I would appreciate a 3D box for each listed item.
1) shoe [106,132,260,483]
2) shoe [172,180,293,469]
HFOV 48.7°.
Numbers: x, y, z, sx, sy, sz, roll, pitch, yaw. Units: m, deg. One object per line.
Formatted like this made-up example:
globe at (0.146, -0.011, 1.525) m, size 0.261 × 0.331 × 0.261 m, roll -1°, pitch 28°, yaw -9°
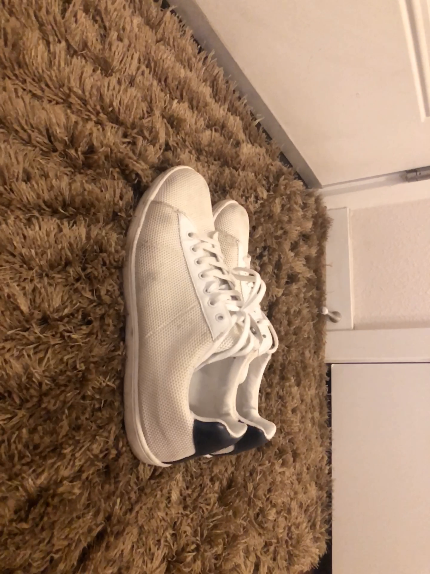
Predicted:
shoe at (-0.019, 0.018, 0.411) m, size 0.101 × 0.079 × 0.263 m, roll 26°, pitch 62°, yaw -59°
shoe at (0.025, 0.040, 0.491) m, size 0.105 × 0.079 × 0.263 m, roll 27°, pitch 62°, yaw -59°
